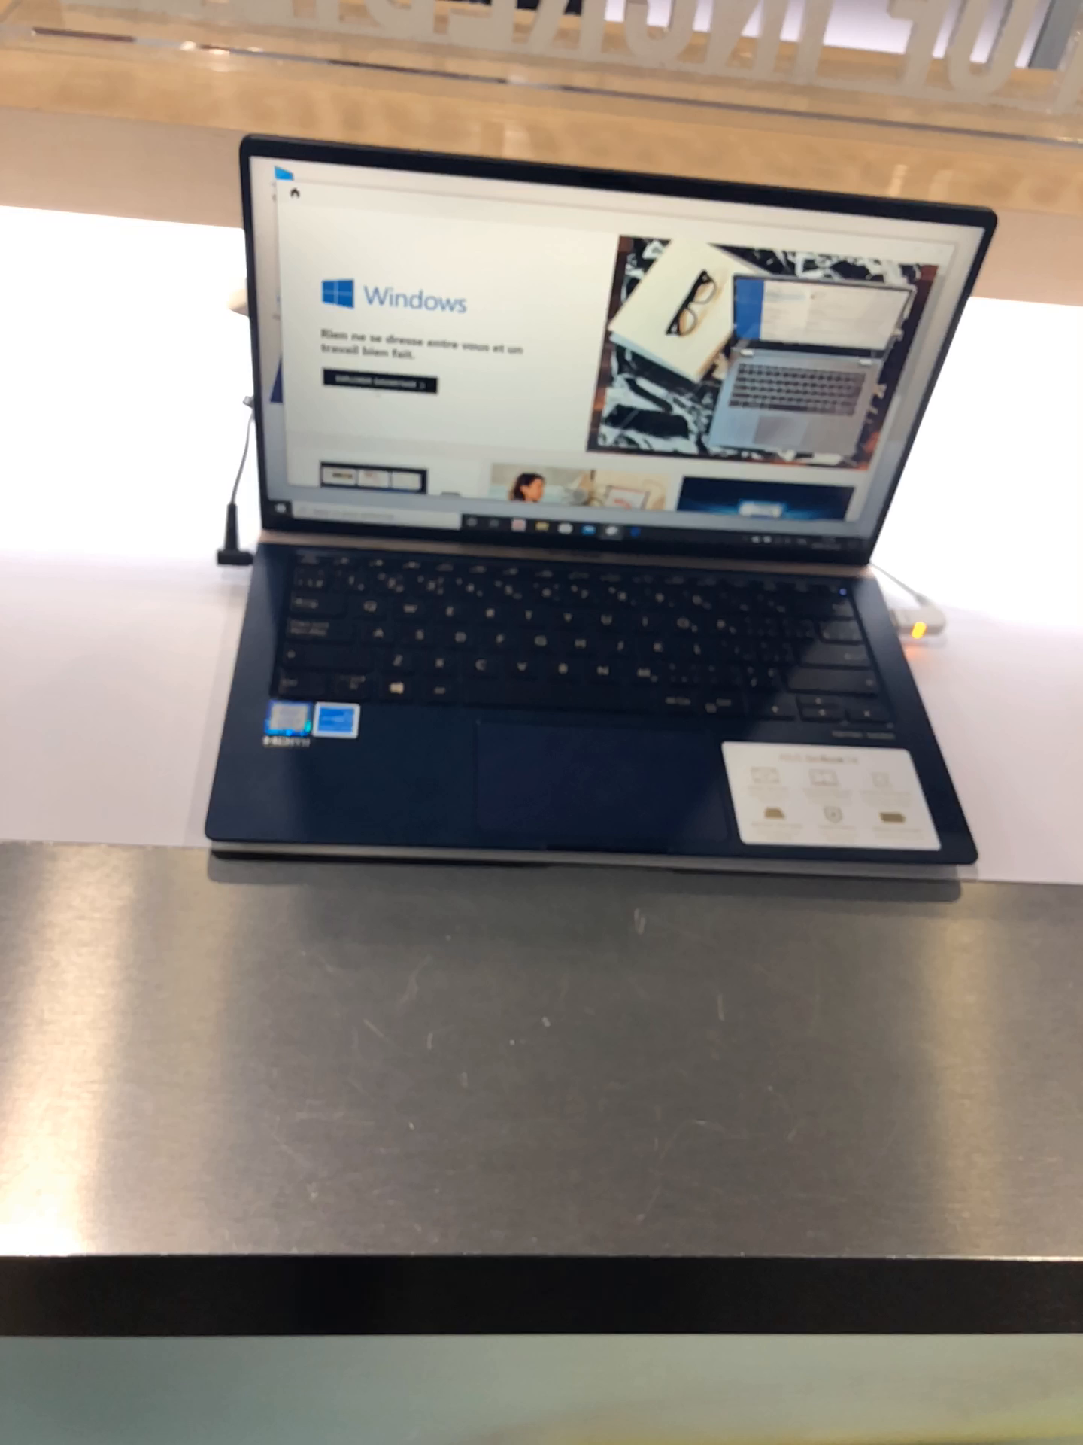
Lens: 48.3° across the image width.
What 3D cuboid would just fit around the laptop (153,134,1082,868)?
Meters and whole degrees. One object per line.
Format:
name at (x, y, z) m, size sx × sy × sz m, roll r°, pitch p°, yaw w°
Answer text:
laptop at (0.032, -0.080, 0.466) m, size 0.301 × 0.182 × 0.192 m, roll 2°, pitch 45°, yaw -8°
